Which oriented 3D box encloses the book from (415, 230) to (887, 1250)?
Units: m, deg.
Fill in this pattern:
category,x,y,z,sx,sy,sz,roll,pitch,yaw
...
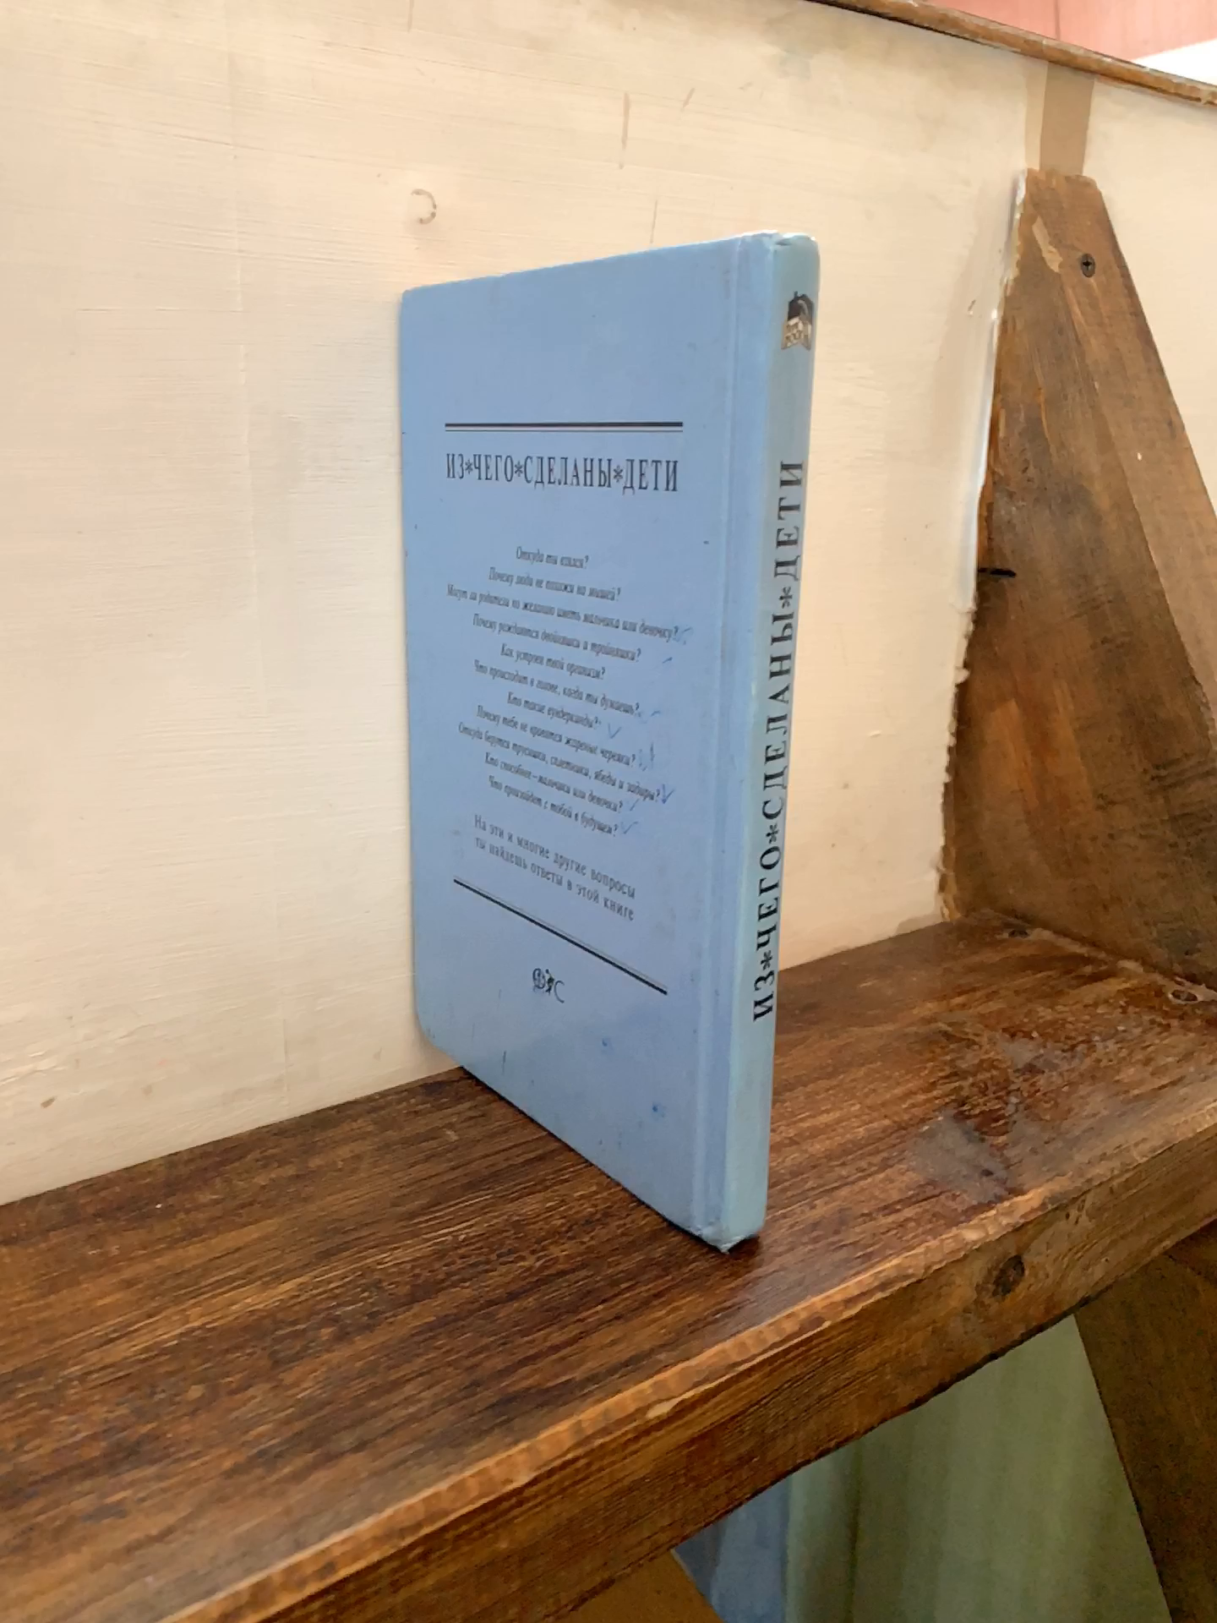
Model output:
category,x,y,z,sx,sy,sz,roll,pitch,yaw
book,-0.001,-0.020,0.290,0.020,0.195,0.130,-11,20,-37
